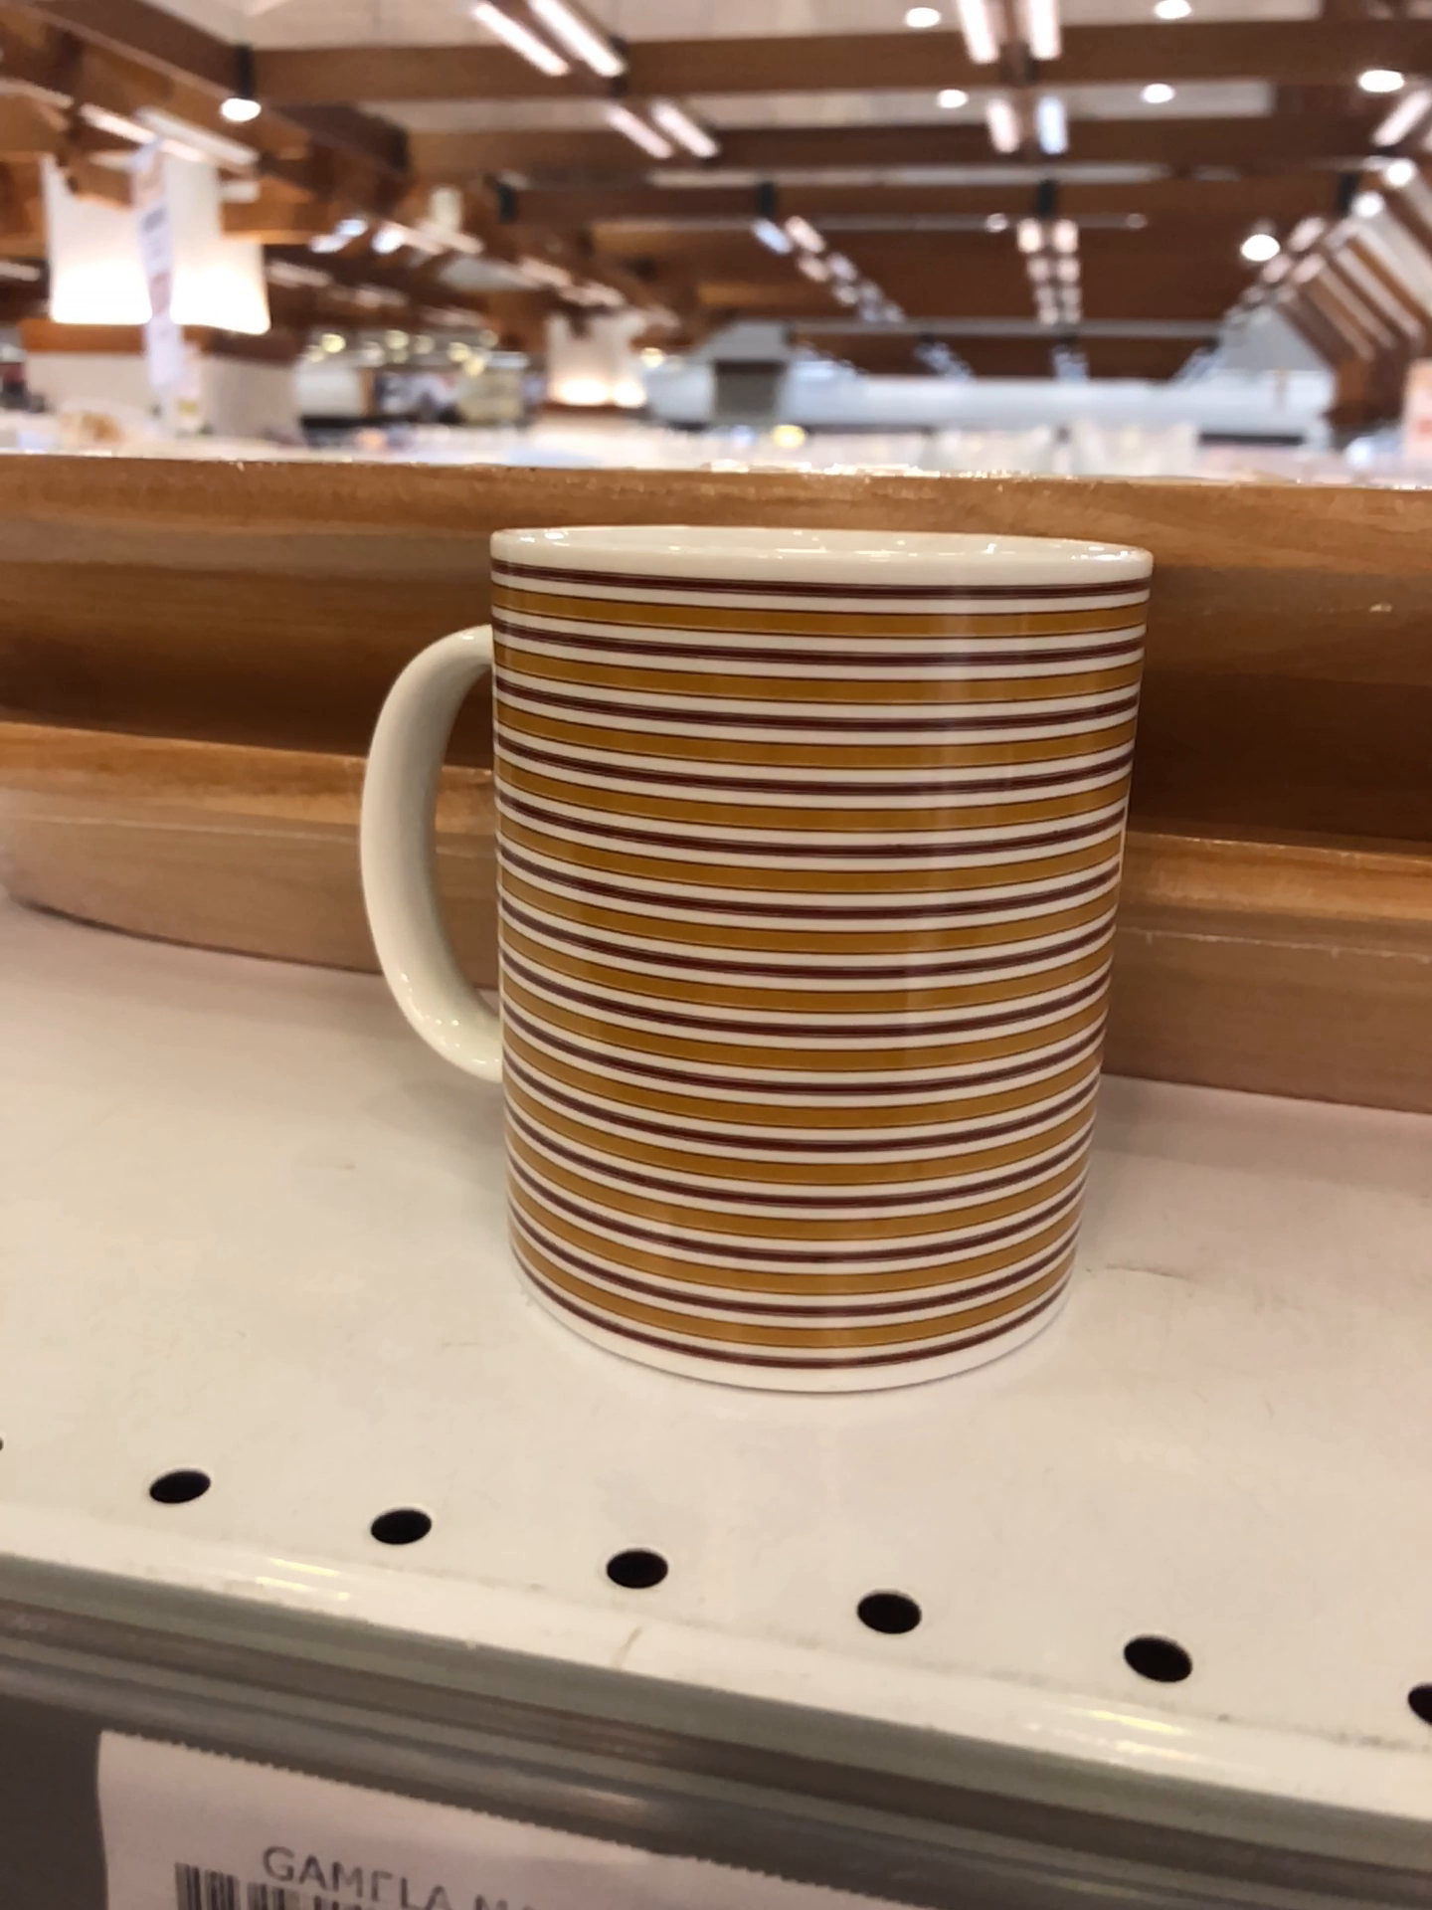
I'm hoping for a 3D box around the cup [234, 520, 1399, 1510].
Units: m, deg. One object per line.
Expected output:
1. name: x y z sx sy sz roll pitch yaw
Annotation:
1. cup: 0.007 -0.010 0.217 0.090 0.090 0.120 -13 21 -41
